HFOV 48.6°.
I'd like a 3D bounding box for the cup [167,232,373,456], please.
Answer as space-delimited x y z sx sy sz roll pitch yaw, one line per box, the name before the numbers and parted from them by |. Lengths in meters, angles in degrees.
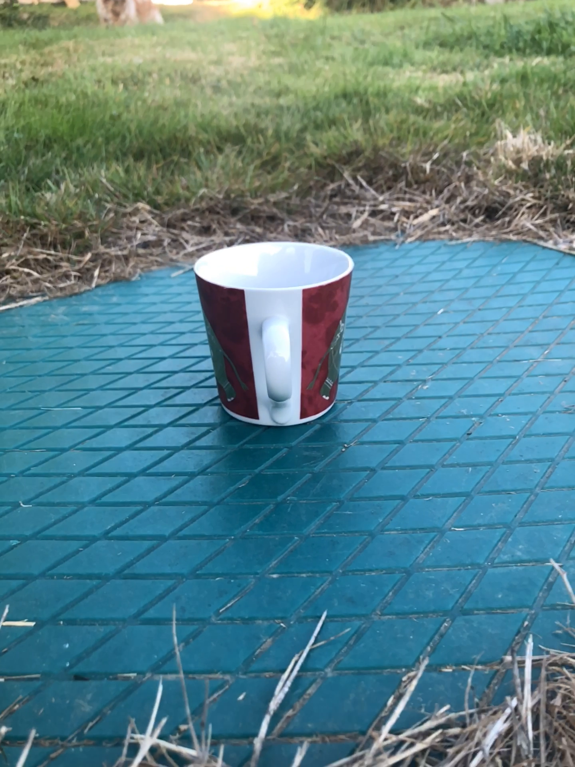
cup | -0.007 -0.026 0.318 0.082 0.070 0.110 -3 27 0
